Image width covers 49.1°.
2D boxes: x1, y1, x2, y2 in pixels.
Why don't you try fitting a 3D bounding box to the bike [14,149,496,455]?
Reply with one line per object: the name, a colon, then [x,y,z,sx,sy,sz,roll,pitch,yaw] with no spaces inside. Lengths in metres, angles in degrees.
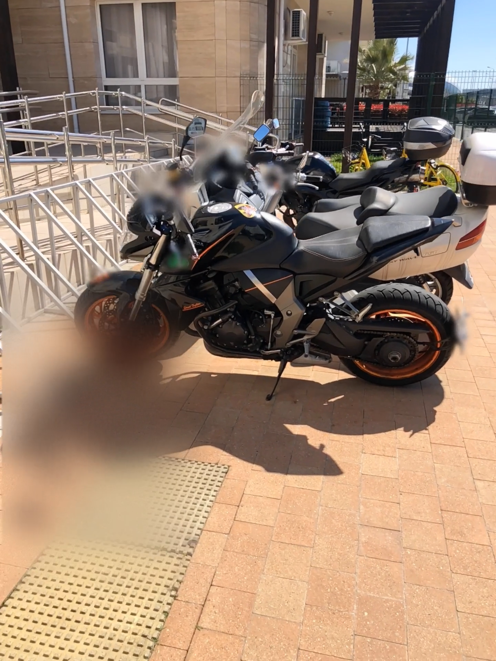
bike: [0.020,-0.231,2.699,1.950,1.170,0.799,5,22,9]
